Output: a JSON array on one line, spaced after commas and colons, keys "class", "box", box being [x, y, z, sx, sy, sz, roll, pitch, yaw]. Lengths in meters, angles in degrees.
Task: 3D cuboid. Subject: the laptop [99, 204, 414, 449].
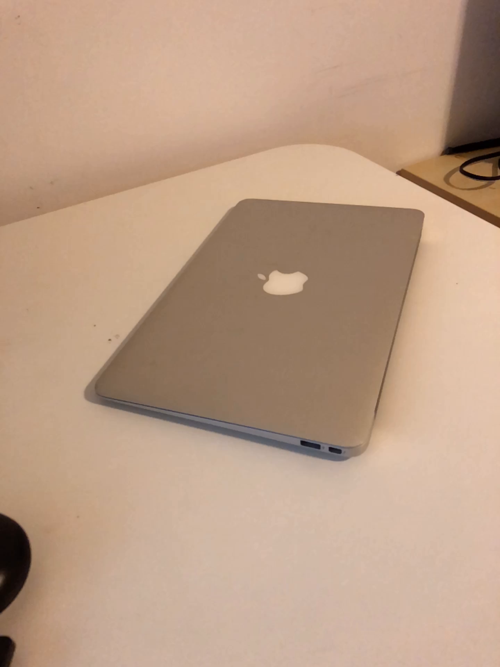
[{"class": "laptop", "box": [0.028, -0.036, 0.452, 0.178, 0.004, 0.292, 8, 40, 18]}]
